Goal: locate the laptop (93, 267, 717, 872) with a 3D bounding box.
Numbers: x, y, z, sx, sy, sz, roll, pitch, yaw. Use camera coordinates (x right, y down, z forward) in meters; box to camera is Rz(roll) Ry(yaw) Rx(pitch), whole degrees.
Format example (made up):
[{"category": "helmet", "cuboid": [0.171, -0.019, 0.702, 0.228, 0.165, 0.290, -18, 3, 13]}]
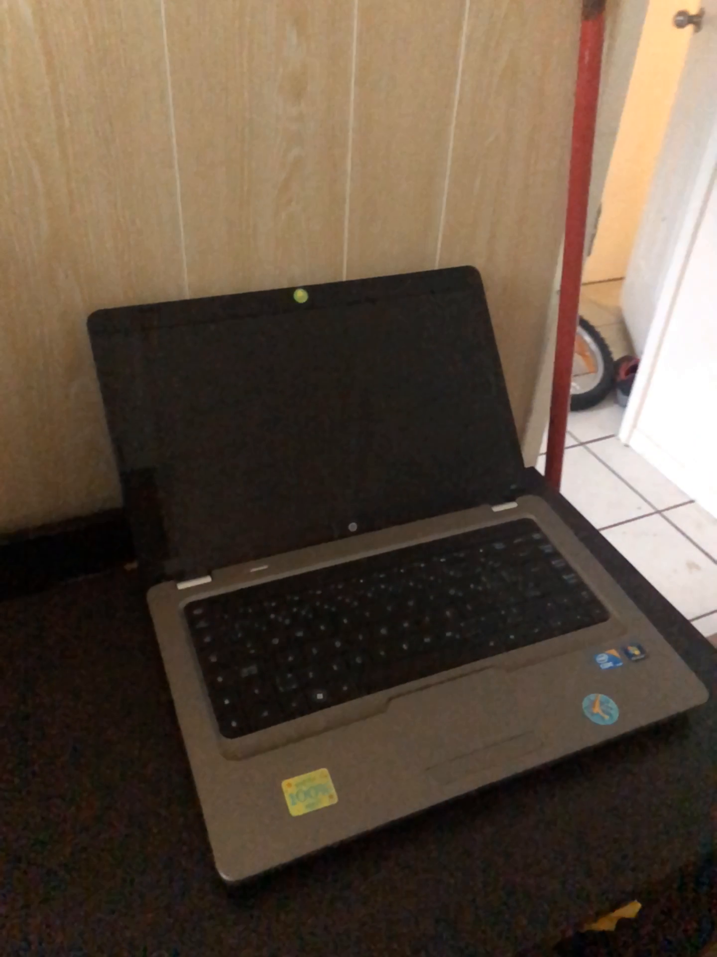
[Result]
[{"category": "laptop", "cuboid": [0.013, 0.010, 0.626, 0.363, 0.154, 0.421, -11, 41, -19]}]
